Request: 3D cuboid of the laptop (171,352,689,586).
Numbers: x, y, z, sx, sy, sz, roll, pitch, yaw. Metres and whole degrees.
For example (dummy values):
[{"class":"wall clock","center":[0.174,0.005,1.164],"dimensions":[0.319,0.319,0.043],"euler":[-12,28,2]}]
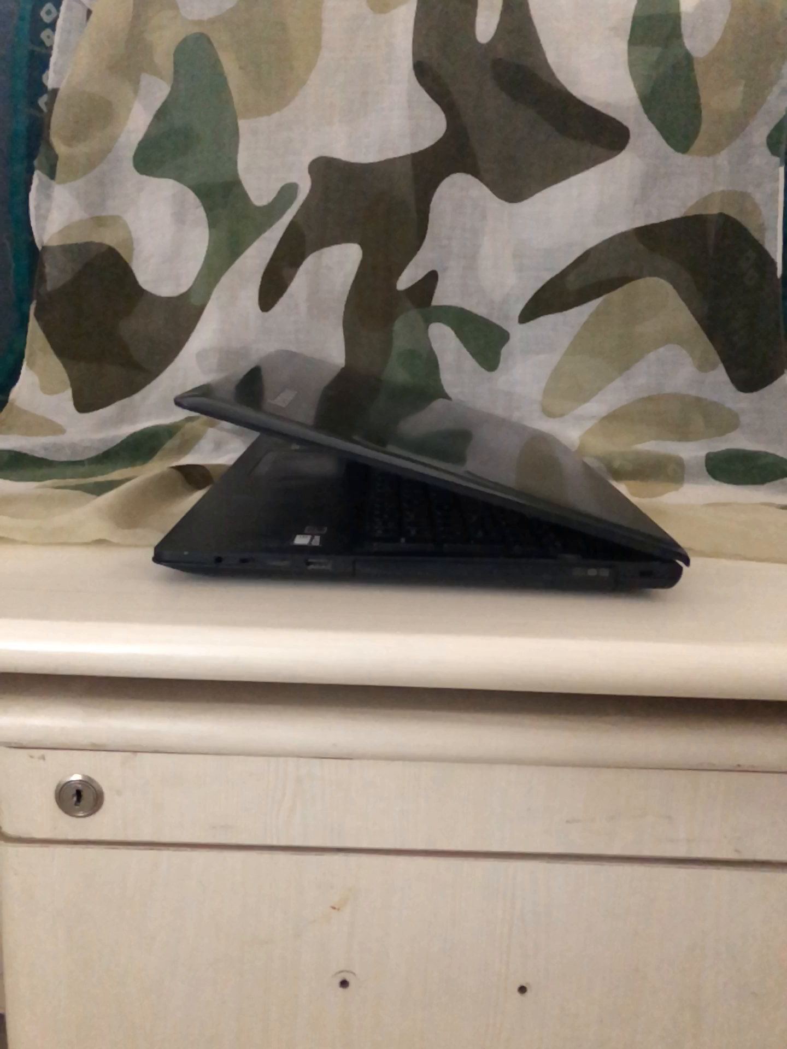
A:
[{"class":"laptop","center":[0.018,-0.063,0.605],"dimensions":[0.249,0.059,0.386],"euler":[6,15,-1]}]
